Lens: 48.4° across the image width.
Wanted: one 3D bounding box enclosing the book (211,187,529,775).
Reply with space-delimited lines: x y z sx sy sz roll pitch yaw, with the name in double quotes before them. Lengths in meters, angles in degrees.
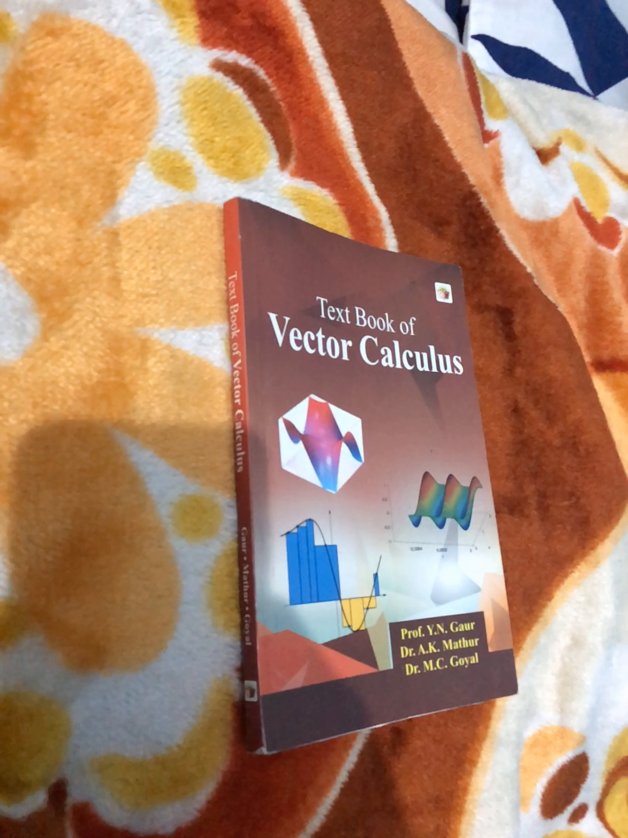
"book" 0.027 0.020 0.299 0.141 0.020 0.210 5 75 -38
